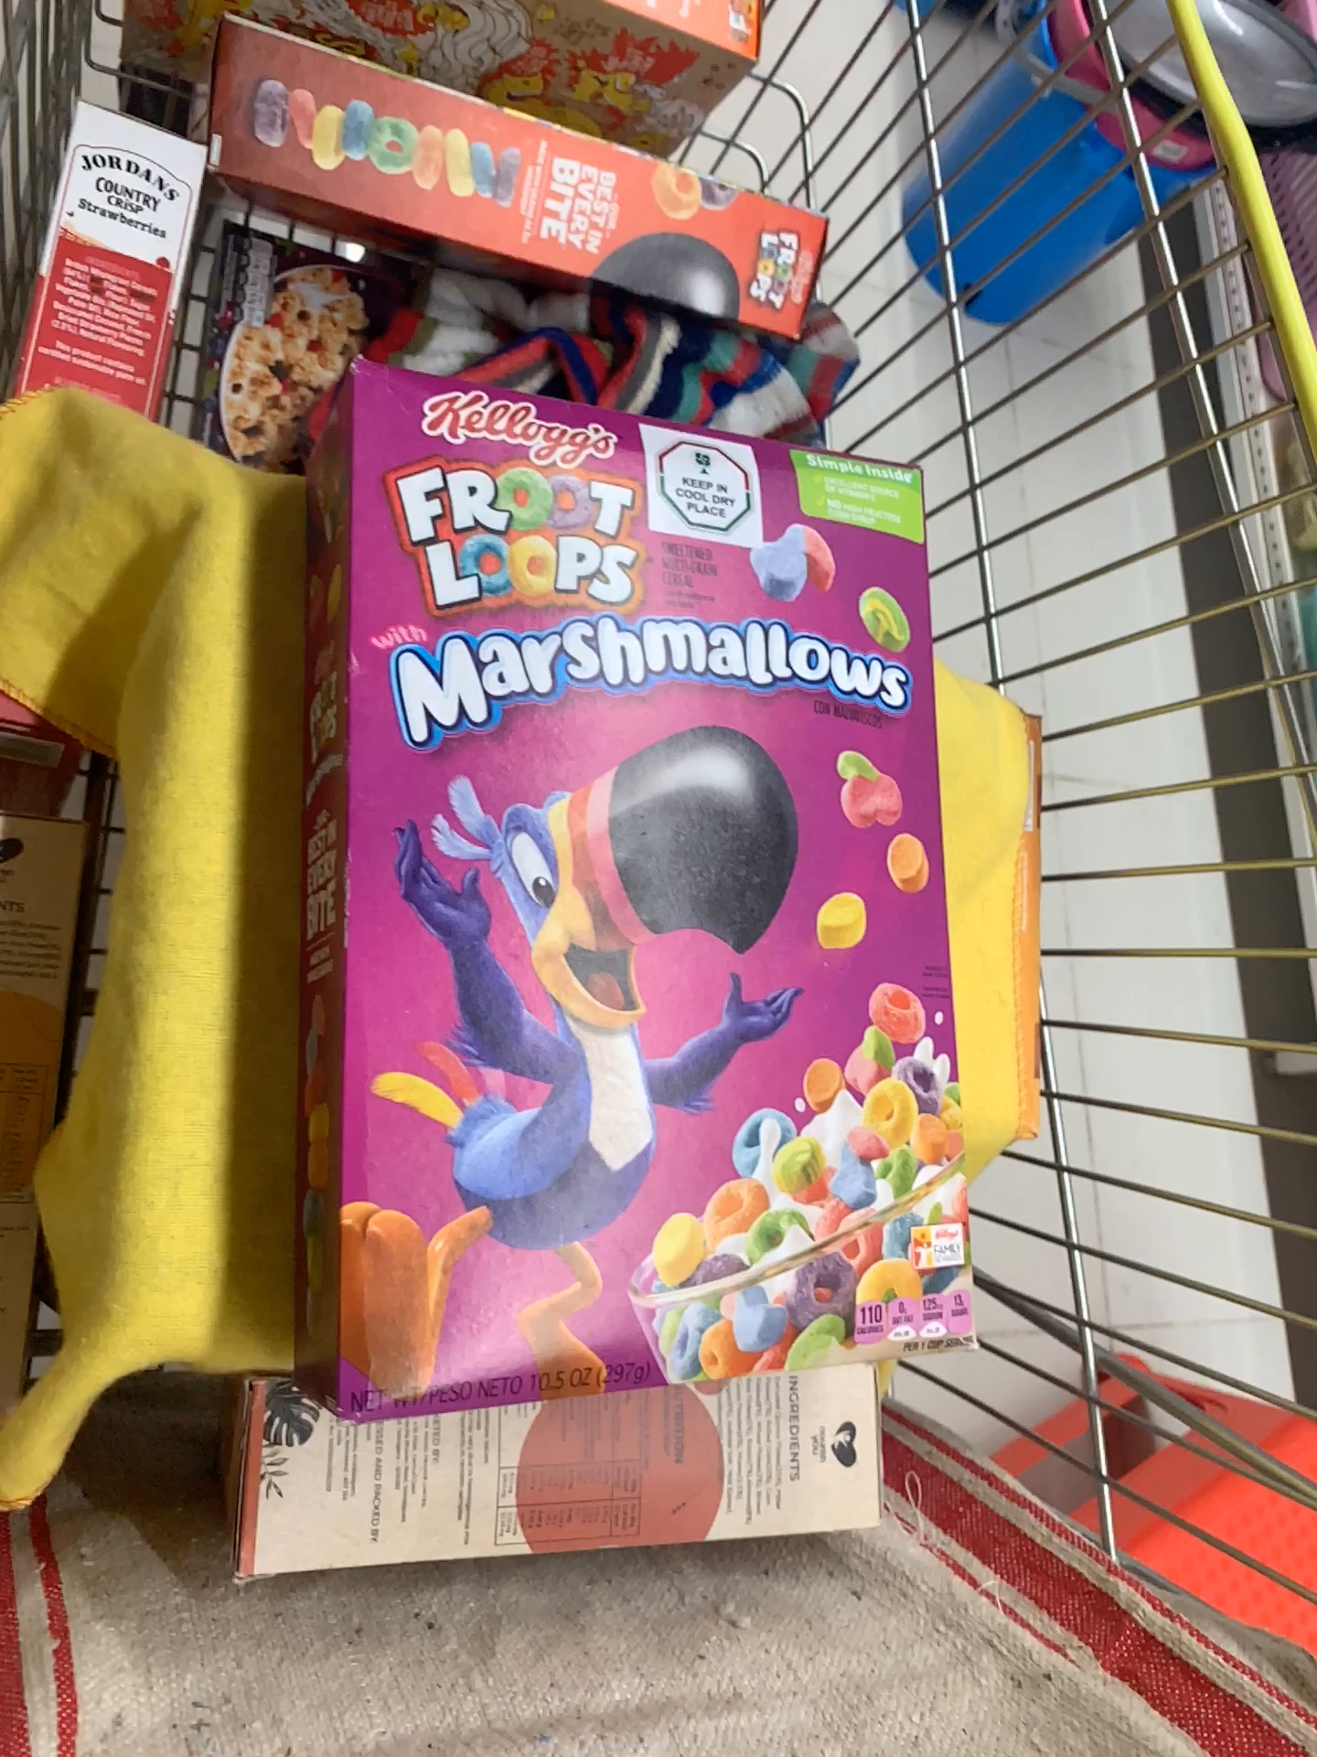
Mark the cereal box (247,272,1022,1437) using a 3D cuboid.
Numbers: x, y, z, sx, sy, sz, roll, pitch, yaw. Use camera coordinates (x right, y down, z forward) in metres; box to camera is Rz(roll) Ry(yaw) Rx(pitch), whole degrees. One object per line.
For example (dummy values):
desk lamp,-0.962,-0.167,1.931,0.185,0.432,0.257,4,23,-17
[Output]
cereal box,-0.008,-0.005,0.379,0.190,0.070,0.270,3,78,-24
